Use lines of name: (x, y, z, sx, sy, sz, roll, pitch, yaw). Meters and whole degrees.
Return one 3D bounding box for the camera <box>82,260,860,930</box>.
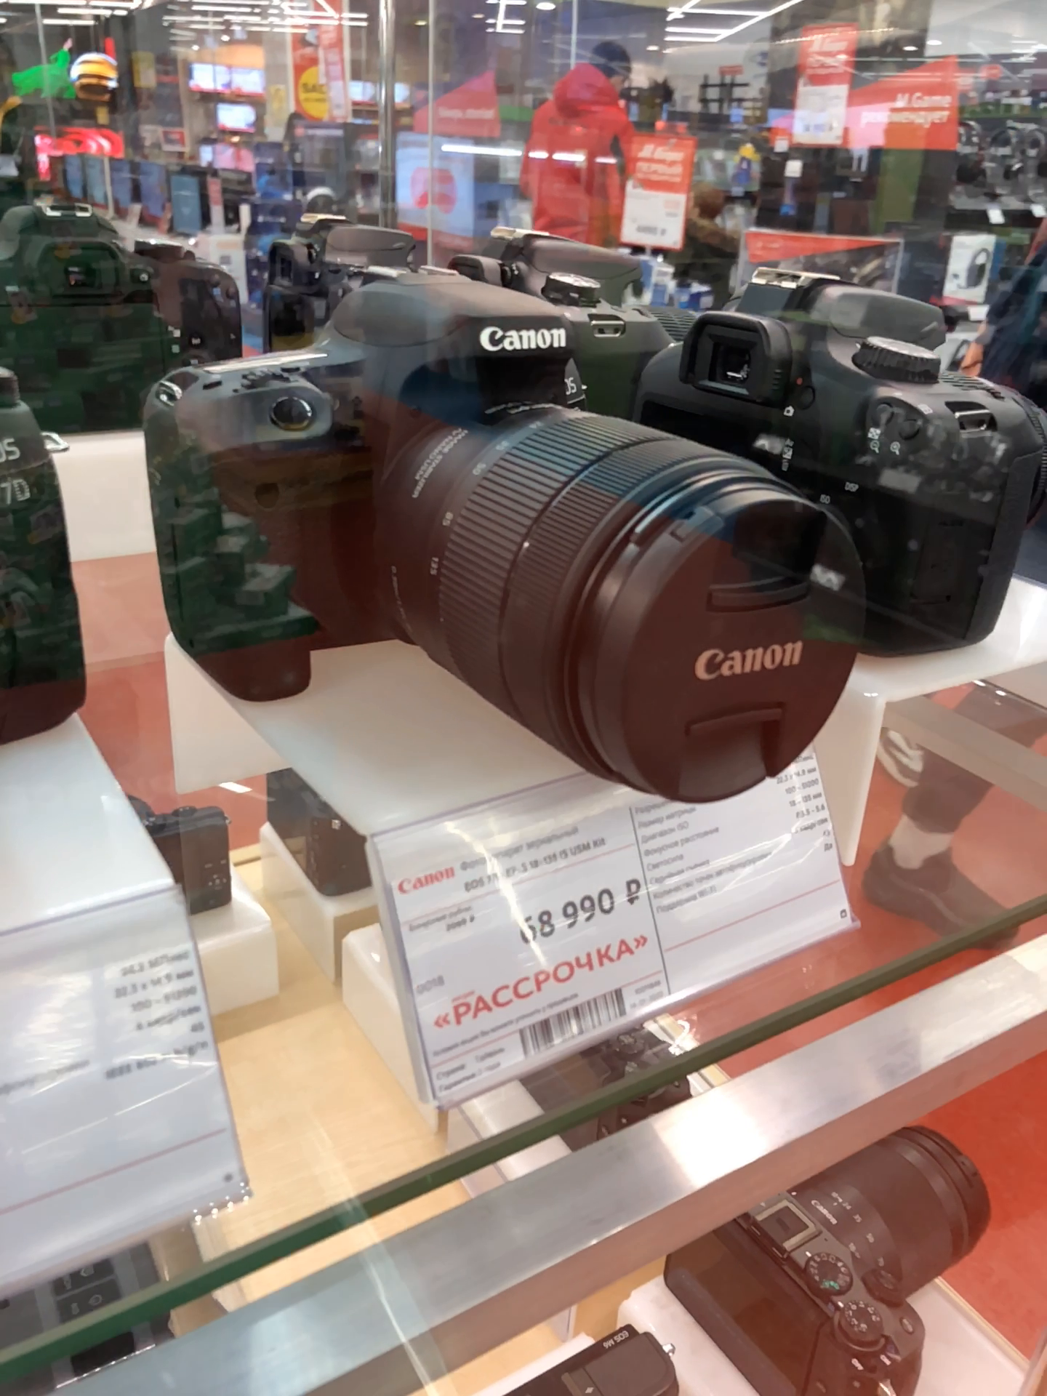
camera: (-0.026, -0.049, 0.320, 0.132, 0.119, 0.168, -14, 29, -31)
